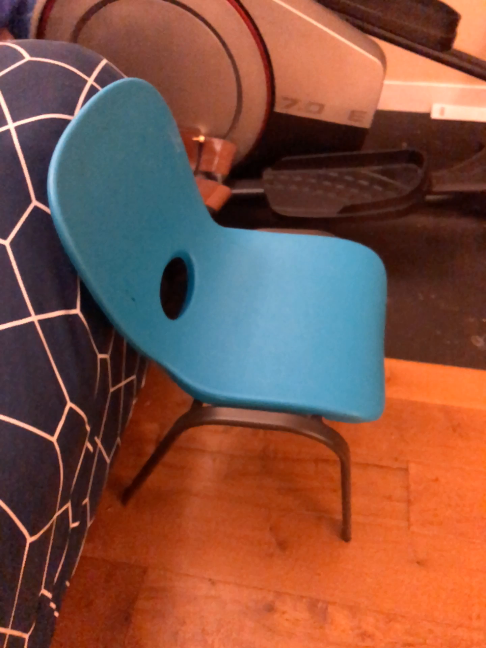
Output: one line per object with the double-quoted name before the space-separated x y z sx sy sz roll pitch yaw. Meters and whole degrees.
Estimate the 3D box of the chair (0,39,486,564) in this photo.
"chair" 0.003 -0.014 0.718 0.400 0.527 0.432 4 49 7
